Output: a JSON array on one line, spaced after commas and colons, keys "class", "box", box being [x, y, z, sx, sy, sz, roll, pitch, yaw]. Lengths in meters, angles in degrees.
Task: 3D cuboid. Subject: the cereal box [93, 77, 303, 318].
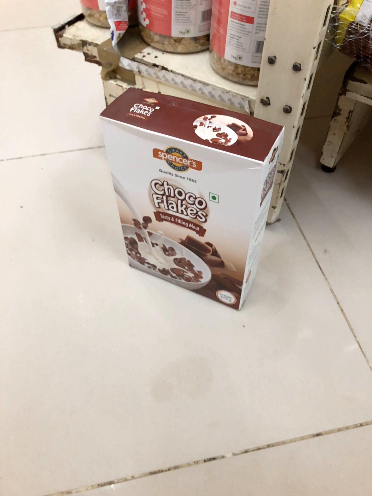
[{"class": "cereal box", "box": [0.012, -0.044, 0.486, 0.190, 0.258, 0.060, 20, 54, 18]}]
